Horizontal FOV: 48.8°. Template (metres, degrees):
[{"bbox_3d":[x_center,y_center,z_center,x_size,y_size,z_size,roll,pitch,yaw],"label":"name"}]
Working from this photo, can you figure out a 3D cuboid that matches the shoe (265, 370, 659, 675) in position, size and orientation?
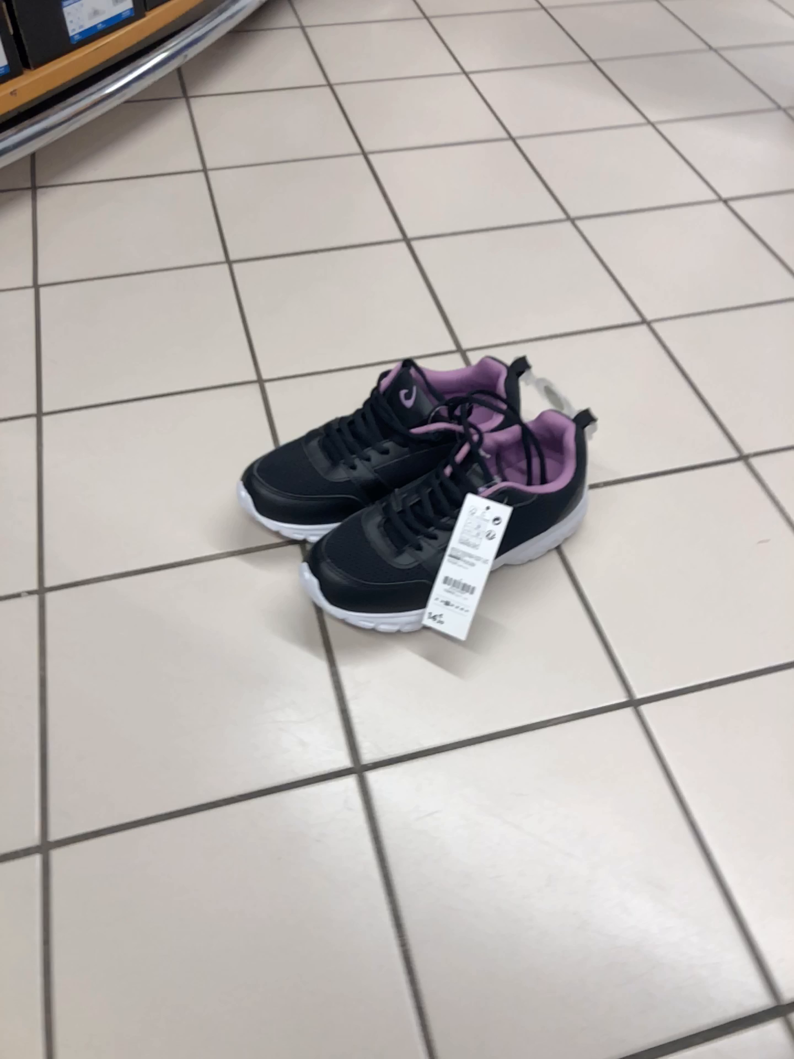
[{"bbox_3d":[0.047,-0.012,0.651,0.261,0.089,0.110,-23,59,-20],"label":"shoe"}]

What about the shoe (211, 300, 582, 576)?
[{"bbox_3d":[0.002,-0.079,0.696,0.261,0.089,0.110,-23,55,-20],"label":"shoe"}]
